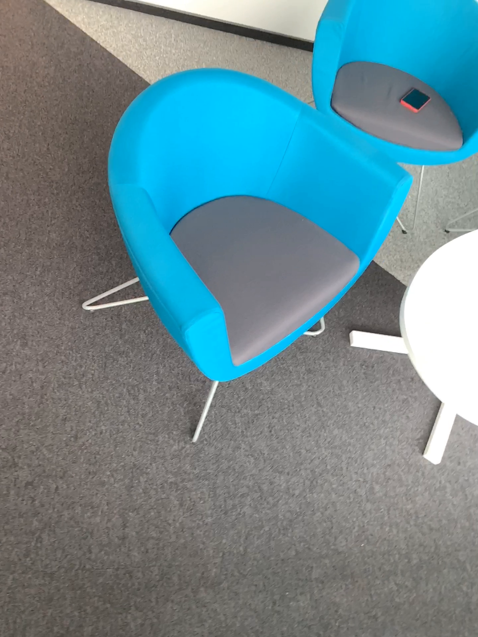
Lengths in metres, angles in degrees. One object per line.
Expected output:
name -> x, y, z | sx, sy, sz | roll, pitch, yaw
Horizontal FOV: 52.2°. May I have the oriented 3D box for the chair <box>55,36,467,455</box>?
chair -> 0.000, -0.182, 1.397 | 0.712, 0.757, 0.640 | -35, 75, -31
